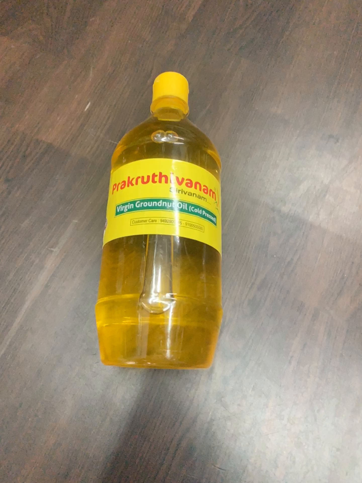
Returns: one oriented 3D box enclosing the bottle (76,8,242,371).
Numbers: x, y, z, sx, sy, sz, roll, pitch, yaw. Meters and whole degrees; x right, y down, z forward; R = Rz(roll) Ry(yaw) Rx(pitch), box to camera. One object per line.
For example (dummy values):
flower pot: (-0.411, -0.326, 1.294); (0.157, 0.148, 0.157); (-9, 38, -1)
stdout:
bottle: (-0.010, -0.041, 0.283); (0.090, 0.080, 0.260); (4, 70, -5)
